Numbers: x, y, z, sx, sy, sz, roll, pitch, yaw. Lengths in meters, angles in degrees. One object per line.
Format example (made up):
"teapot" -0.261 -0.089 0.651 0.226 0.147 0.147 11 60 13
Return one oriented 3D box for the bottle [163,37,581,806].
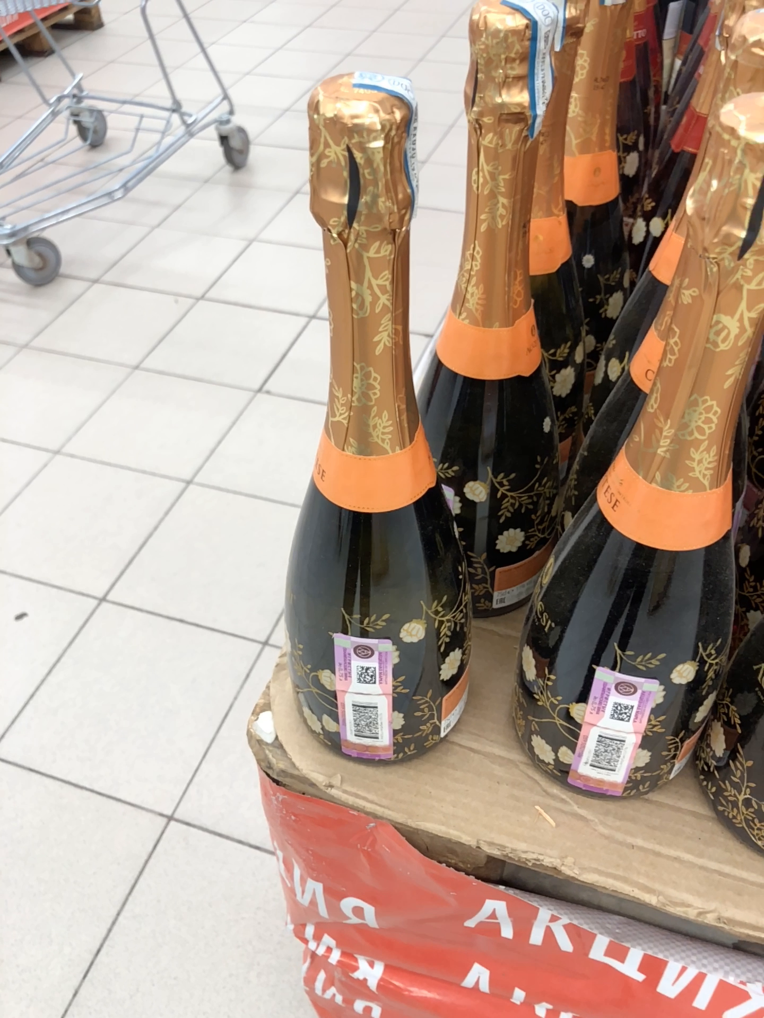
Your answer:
"bottle" 0.007 -0.003 0.348 0.100 0.318 0.101 -2 45 2
